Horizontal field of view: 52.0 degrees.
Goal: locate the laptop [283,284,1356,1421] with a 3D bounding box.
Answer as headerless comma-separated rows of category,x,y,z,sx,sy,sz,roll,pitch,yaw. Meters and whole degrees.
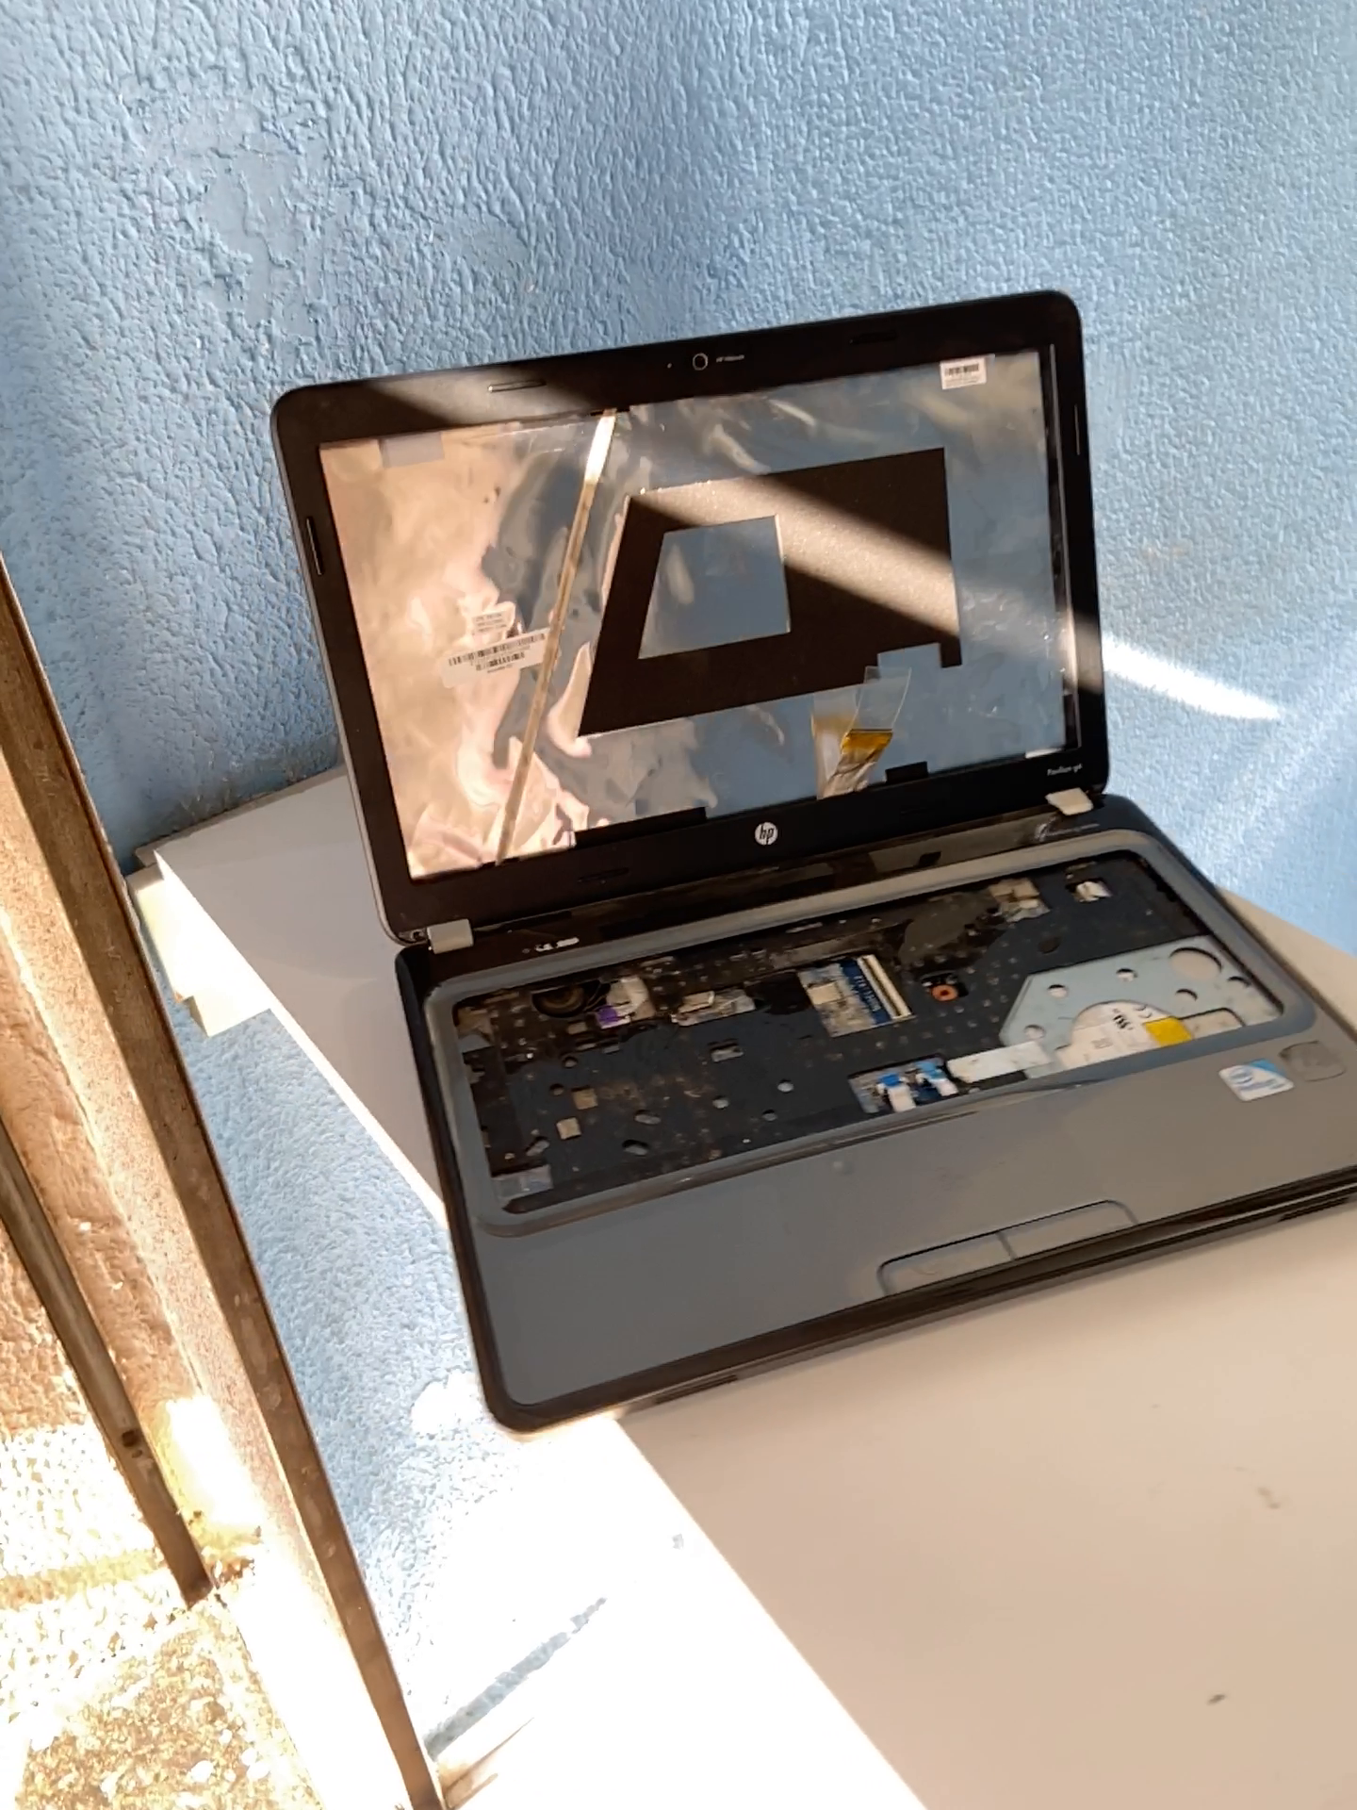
laptop,0.057,-0.059,0.505,0.335,0.194,0.324,-12,39,-11
